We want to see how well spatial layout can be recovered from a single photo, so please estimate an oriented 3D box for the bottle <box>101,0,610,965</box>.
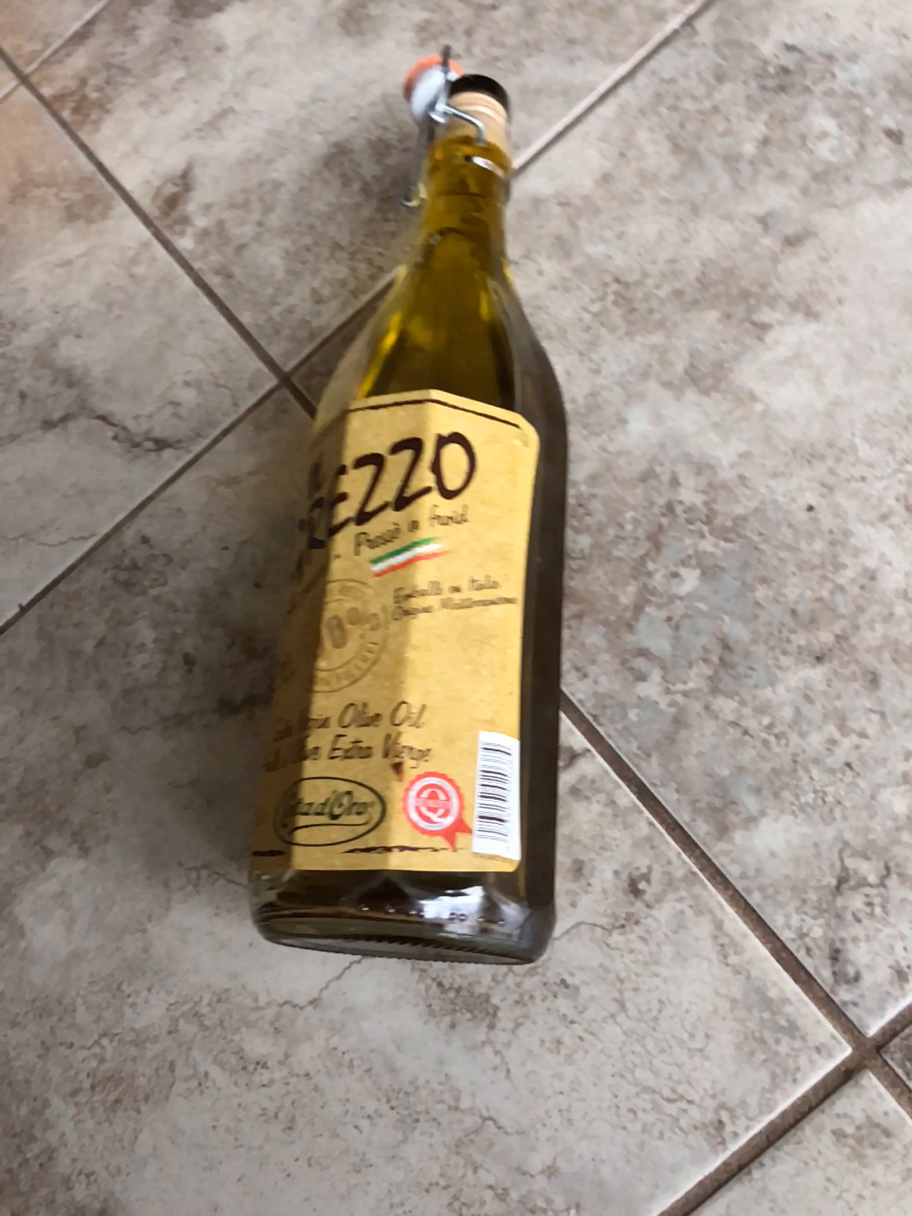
[{"bbox_3d":[-0.009,-0.075,0.332,0.090,0.100,0.350,-4,66,21],"label":"bottle"}]
